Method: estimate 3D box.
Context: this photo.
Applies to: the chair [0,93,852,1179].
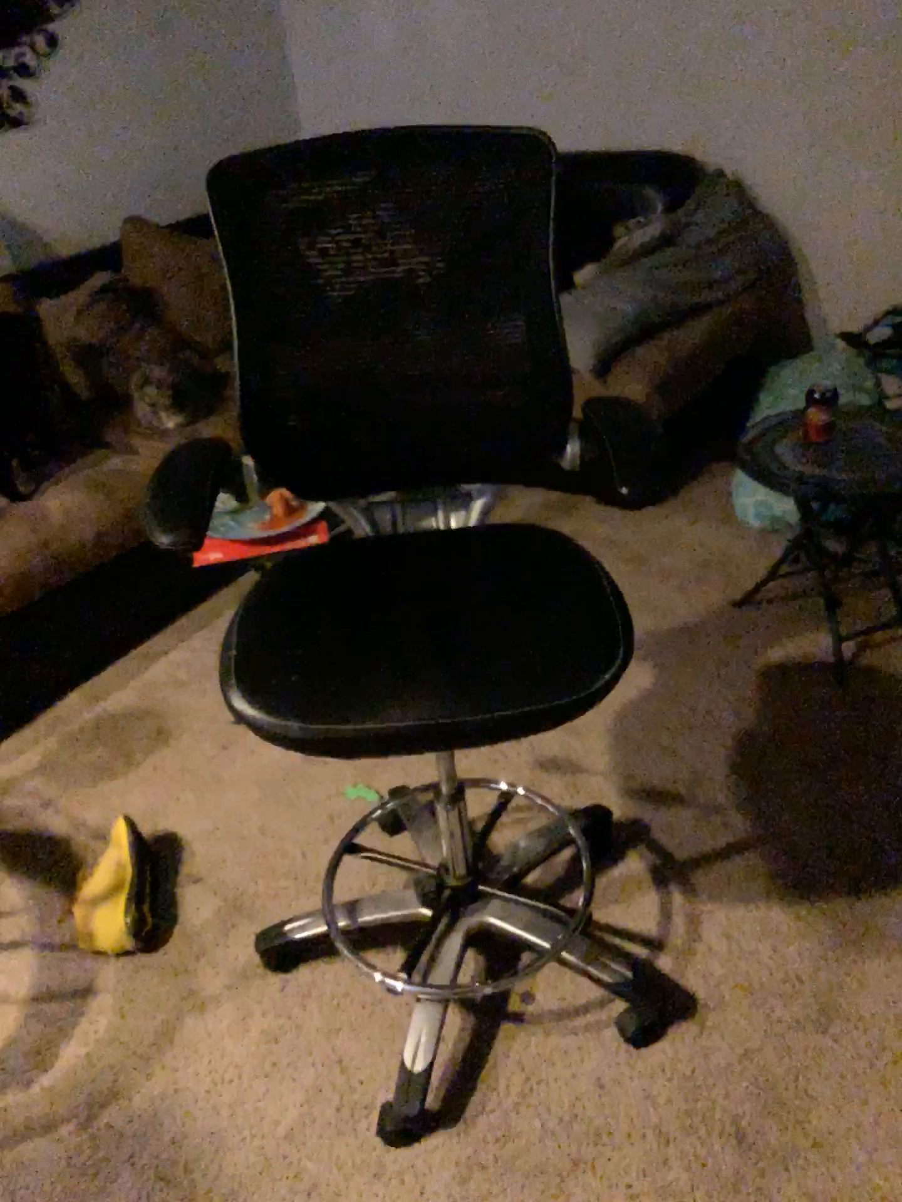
[{"bbox_3d":[-0.038,0.004,1.452,0.760,1.170,0.930,-7,31,1],"label":"chair"}]
